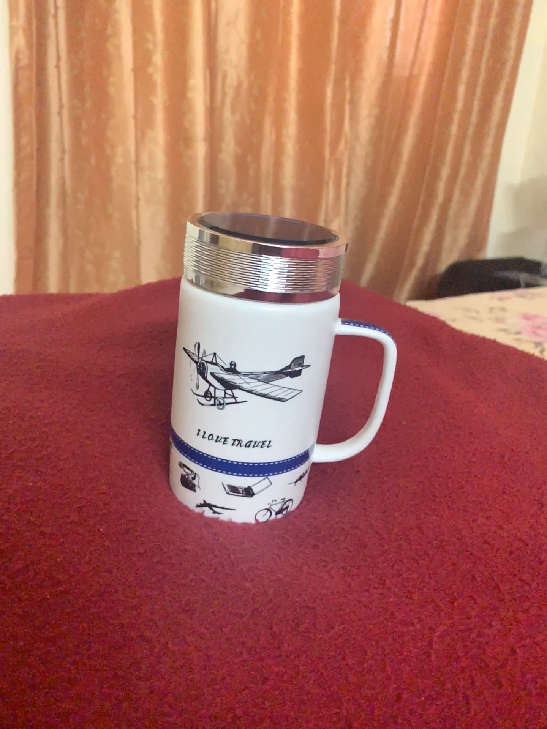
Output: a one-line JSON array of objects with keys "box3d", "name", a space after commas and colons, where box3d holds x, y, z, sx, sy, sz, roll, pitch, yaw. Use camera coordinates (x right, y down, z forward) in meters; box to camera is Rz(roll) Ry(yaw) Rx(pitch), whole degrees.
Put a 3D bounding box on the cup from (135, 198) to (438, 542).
[{"box3d": [0.002, -0.002, 0.298, 0.120, 0.139, 0.091, 8, 22, 2], "name": "cup"}]
